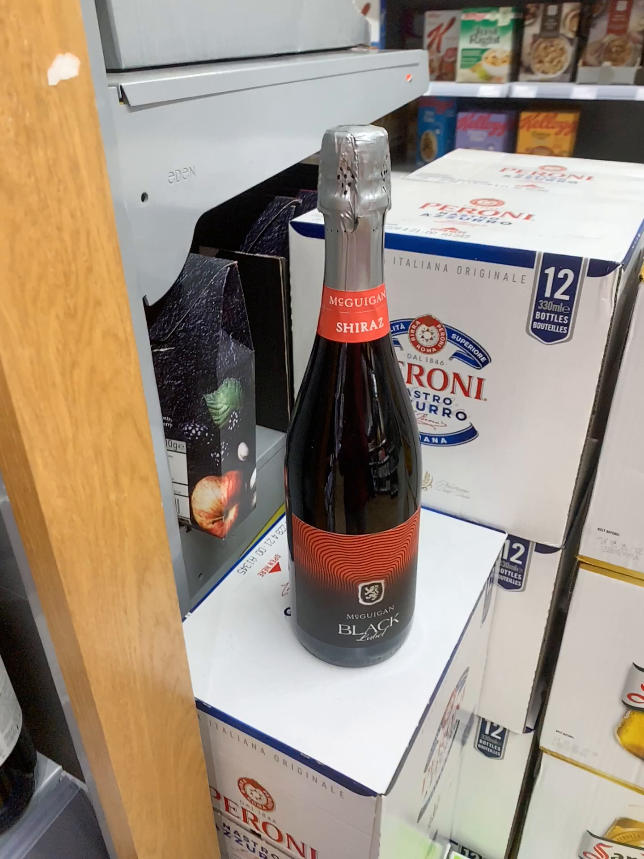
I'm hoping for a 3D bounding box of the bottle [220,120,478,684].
[{"bbox_3d":[0.009,-0.006,0.367,0.090,0.289,0.095,-1,30,0],"label":"bottle"}]
